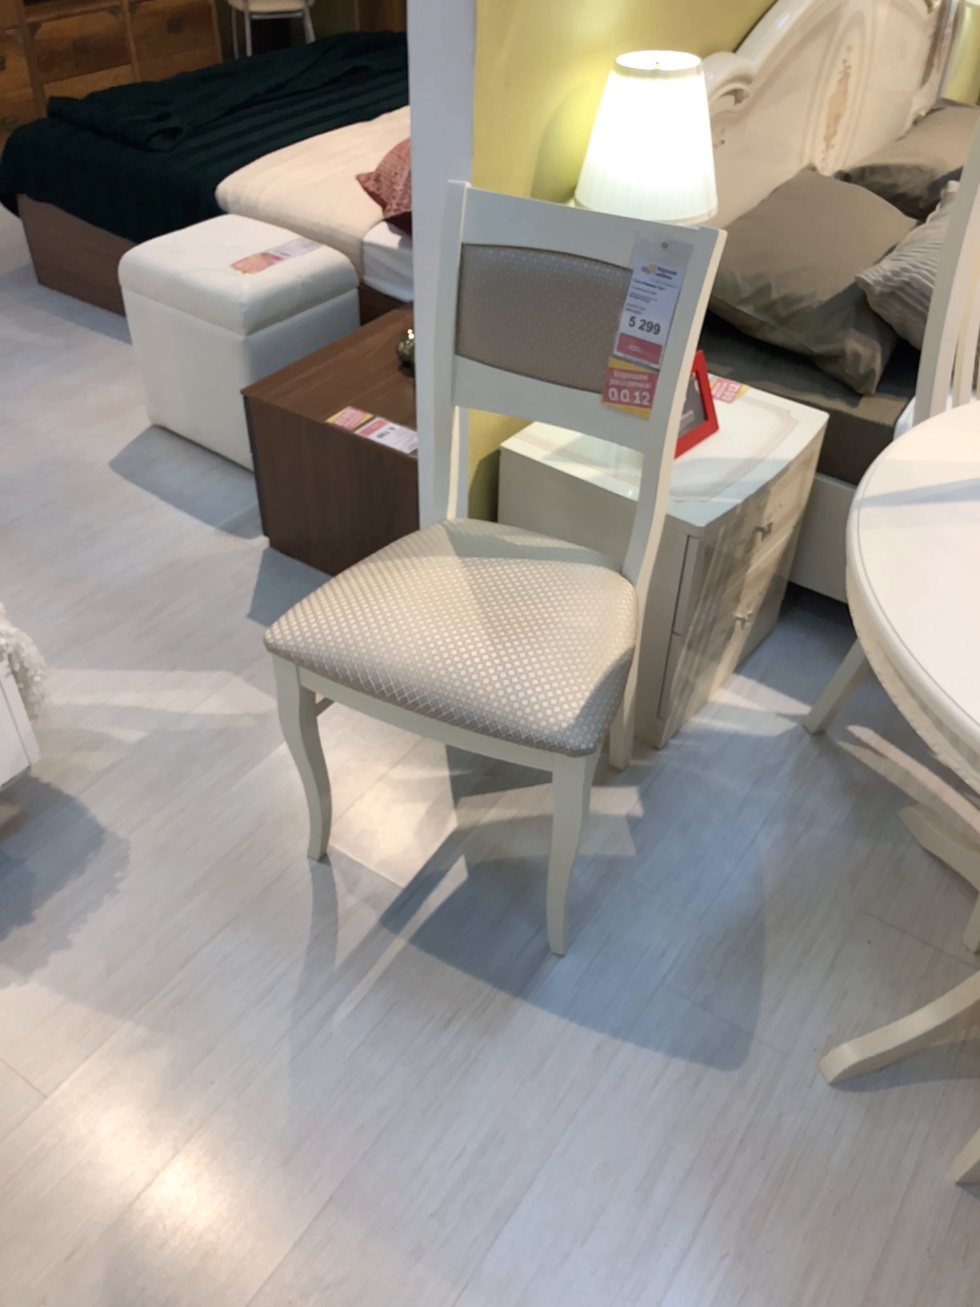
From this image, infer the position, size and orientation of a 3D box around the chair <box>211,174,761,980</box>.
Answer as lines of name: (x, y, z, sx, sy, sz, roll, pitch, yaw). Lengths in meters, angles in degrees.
chair: (0.010, -0.084, 1.536, 0.470, 0.945, 0.474, 17, 42, 18)
